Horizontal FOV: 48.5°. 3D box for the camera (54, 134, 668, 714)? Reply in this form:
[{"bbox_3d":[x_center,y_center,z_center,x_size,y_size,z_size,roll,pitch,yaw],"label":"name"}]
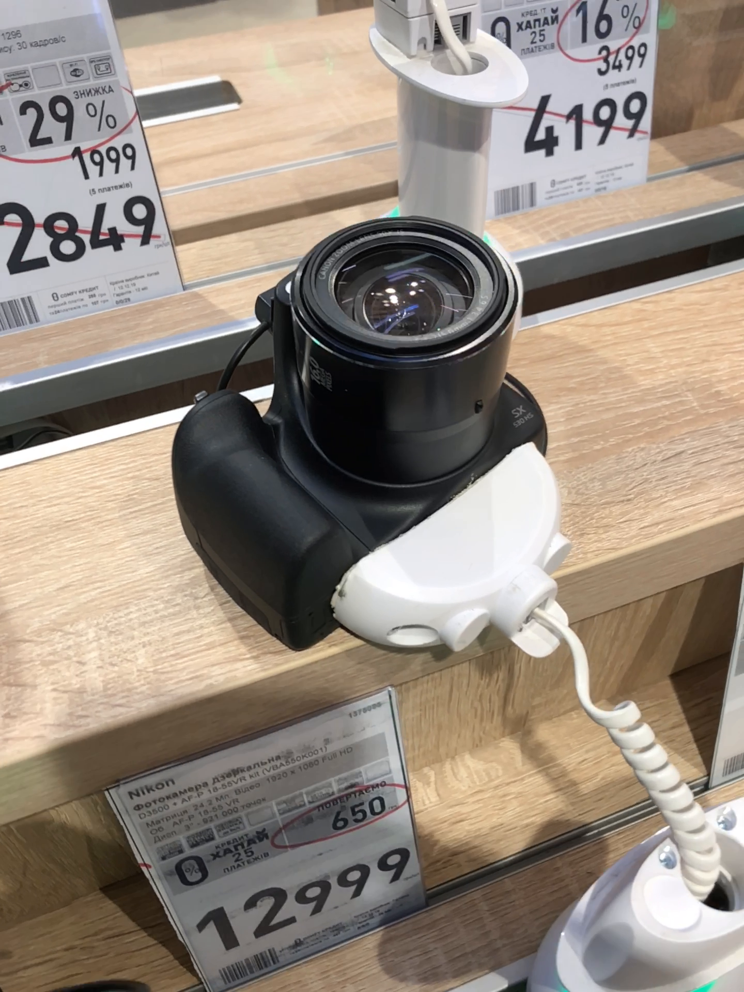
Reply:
[{"bbox_3d":[-0.002,-0.028,0.265,0.134,0.090,0.107,-35,62,-25],"label":"camera"}]
